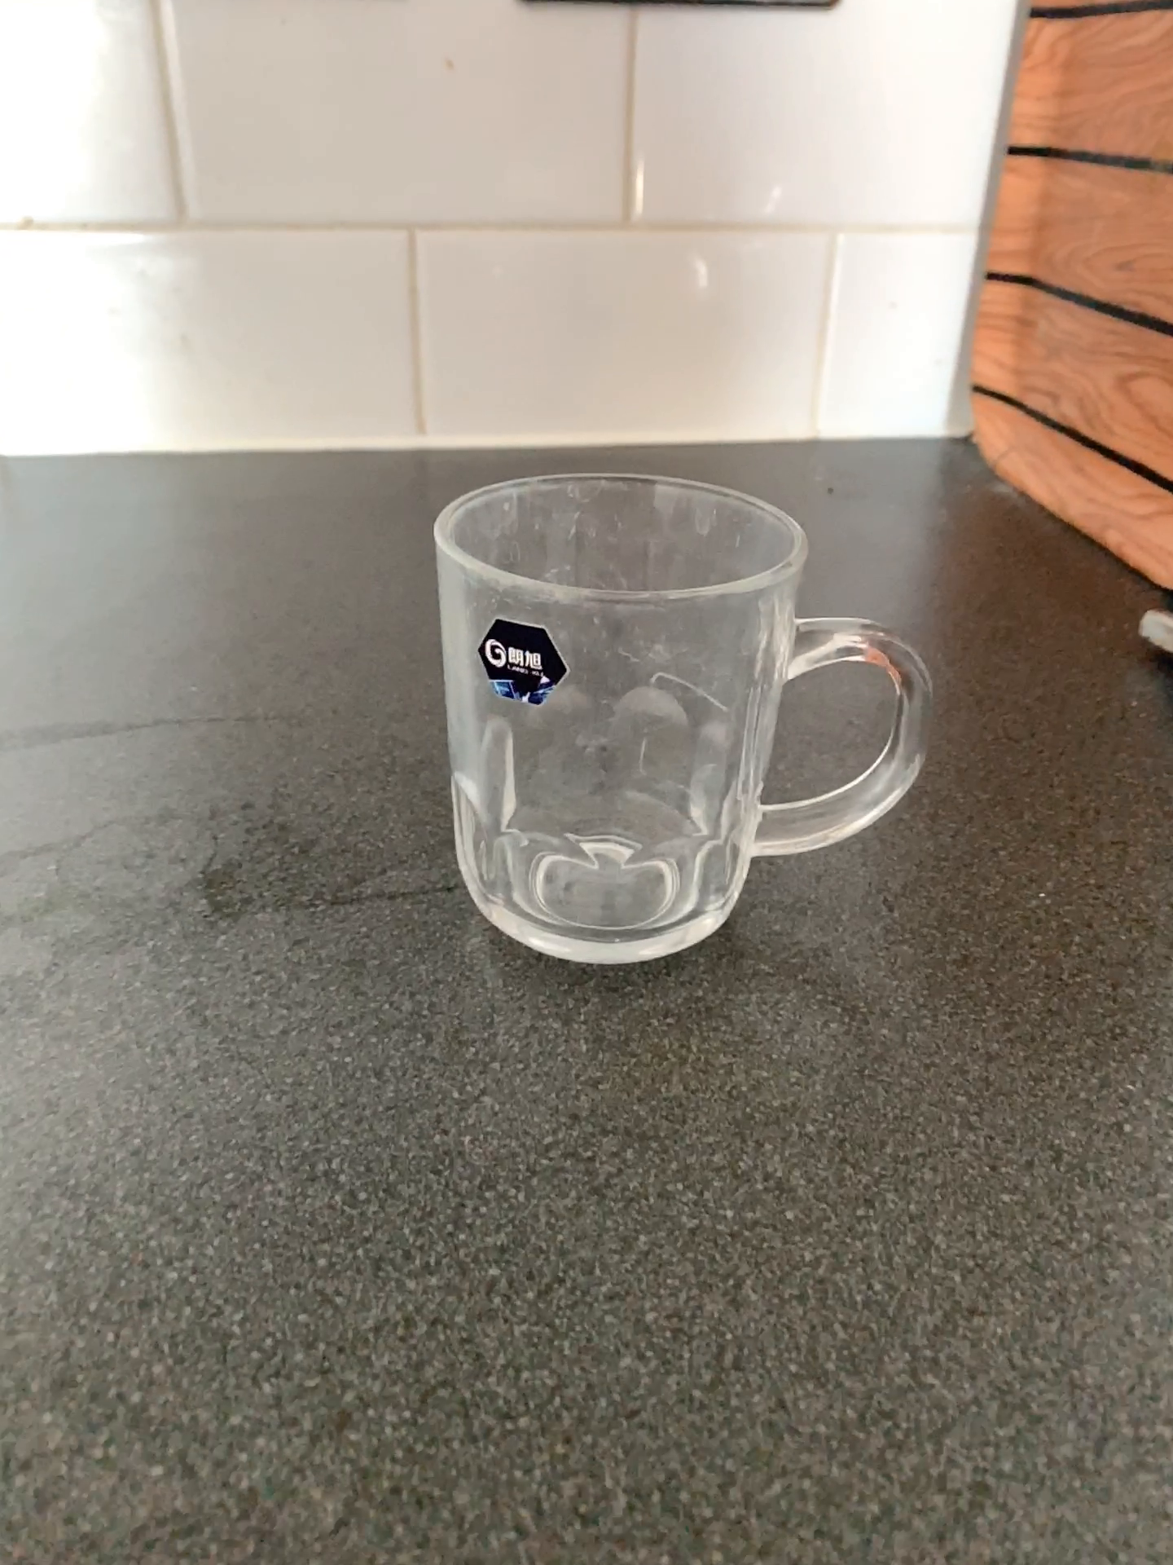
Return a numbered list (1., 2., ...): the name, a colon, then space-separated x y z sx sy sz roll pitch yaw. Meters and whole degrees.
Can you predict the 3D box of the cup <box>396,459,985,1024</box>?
1. cup: 0.016 -0.014 0.266 0.100 0.090 0.071 -7 30 -14
